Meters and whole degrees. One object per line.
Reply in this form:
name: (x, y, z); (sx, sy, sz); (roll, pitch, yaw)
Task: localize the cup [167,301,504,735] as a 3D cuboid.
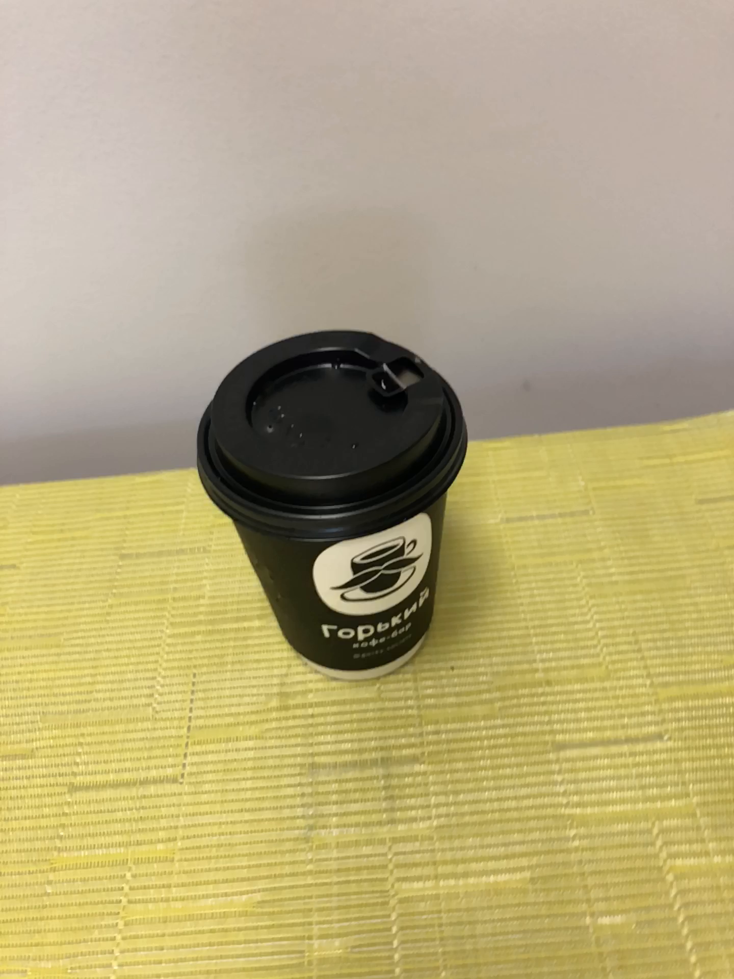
cup: (-0.011, 0.012, 0.320); (0.092, 0.120, 0.090); (-3, 45, 3)
